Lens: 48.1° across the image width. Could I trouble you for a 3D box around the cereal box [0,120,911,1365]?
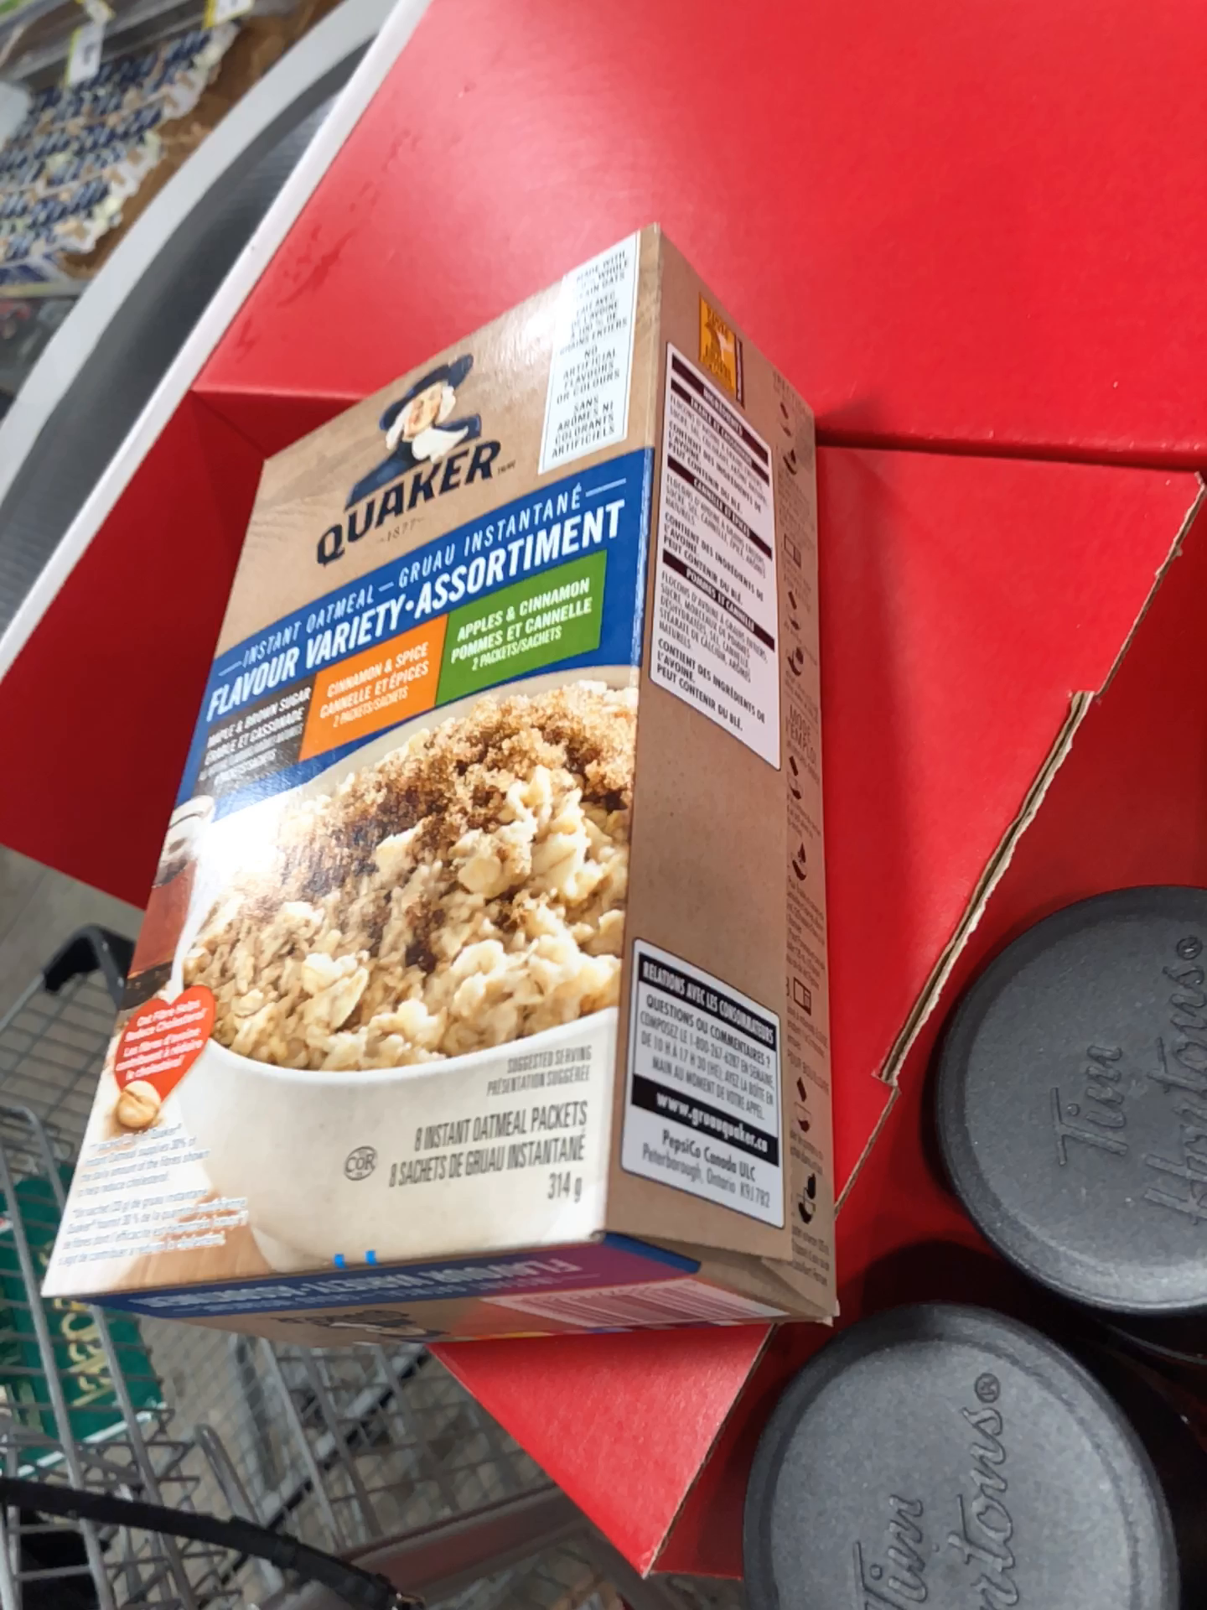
[{"bbox_3d":[-0.025,-0.007,0.271,0.140,0.070,0.210,-18,54,33],"label":"cereal box"}]
